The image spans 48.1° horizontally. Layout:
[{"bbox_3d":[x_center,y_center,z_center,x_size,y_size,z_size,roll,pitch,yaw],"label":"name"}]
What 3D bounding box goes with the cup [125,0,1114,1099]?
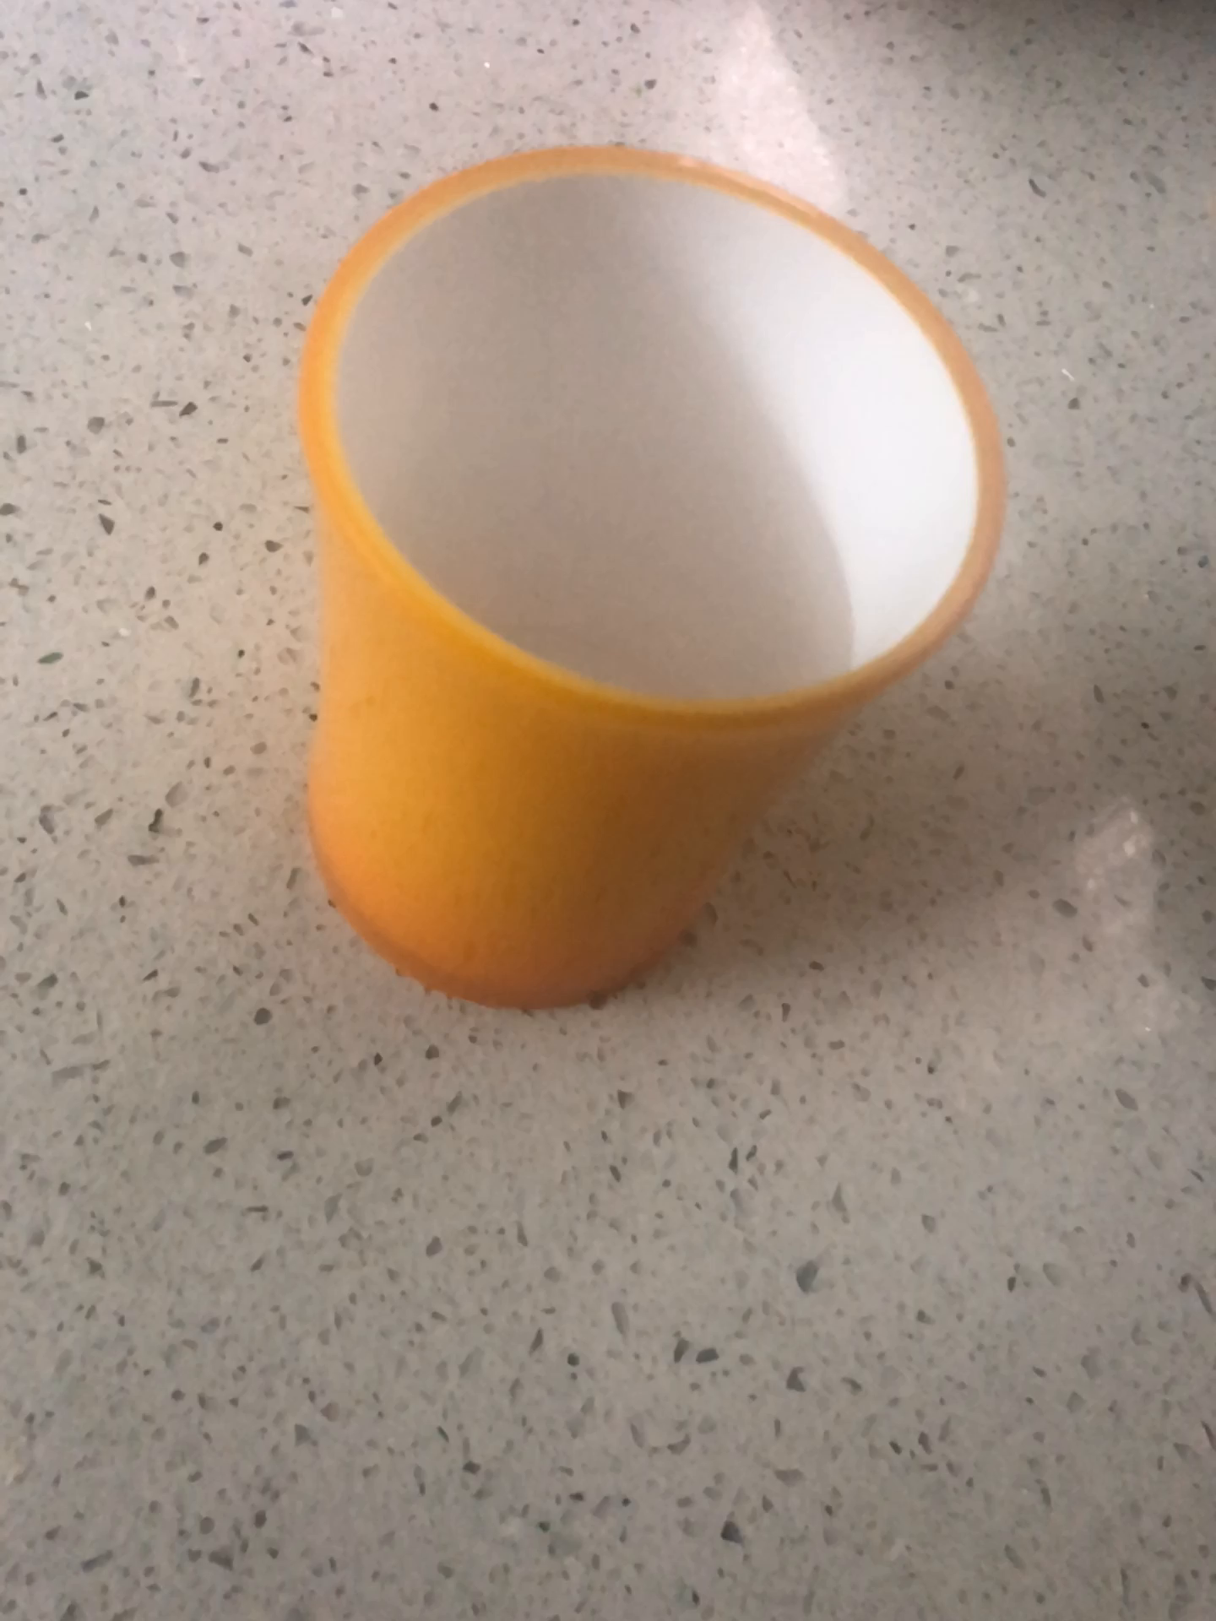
[{"bbox_3d":[-0.002,-0.023,0.173,0.080,0.110,0.080,5,65,-11],"label":"cup"}]
